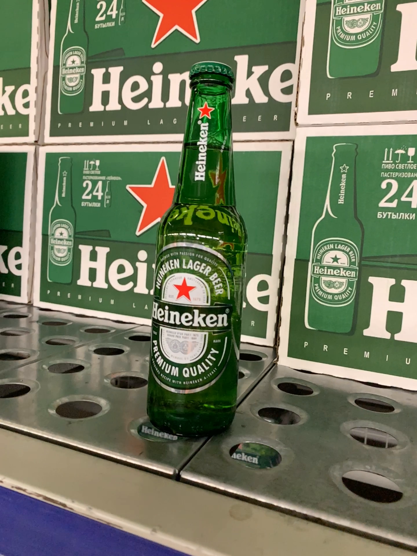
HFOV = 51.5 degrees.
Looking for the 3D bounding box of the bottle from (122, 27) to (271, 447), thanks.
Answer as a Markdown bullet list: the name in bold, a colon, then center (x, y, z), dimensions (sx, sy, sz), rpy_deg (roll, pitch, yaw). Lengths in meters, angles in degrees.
- **bottle**: center (-0.006, -0.023, 0.271), dimensions (0.060, 0.226, 0.060), rpy_deg (4, 5, 0)
